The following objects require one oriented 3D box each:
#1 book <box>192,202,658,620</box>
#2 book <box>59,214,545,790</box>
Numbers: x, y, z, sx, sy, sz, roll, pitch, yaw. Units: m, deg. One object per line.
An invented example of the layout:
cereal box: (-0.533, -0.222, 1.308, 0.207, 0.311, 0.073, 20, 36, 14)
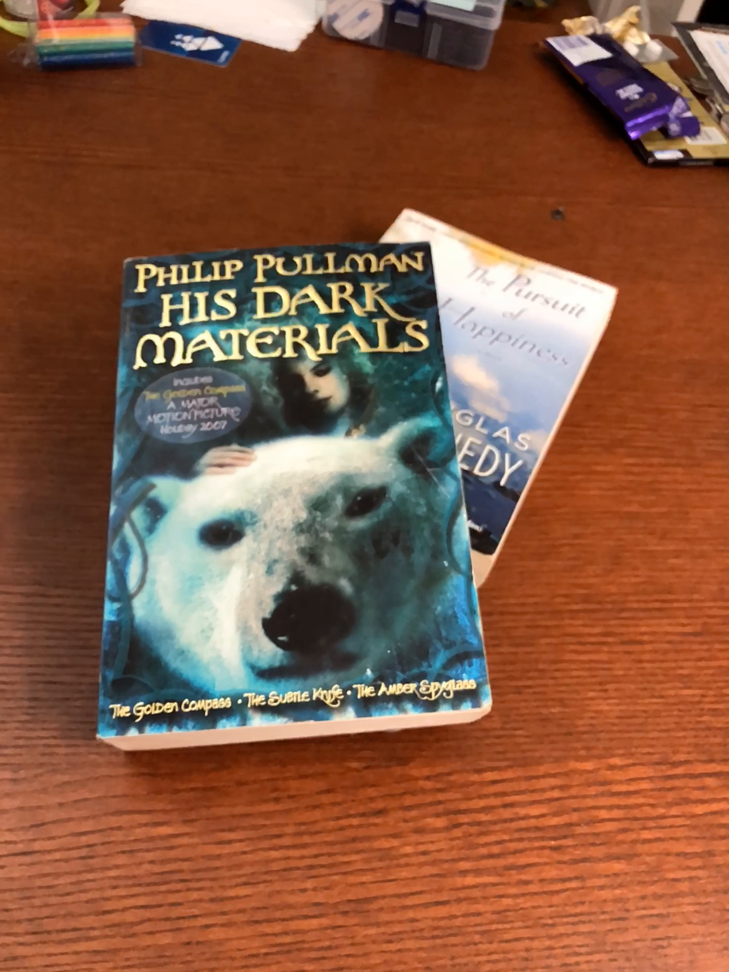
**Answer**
book: (0.045, -0.063, 0.472, 0.170, 0.040, 0.241, 24, 56, 18)
book: (-0.032, -0.003, 0.360, 0.170, 0.060, 0.241, -4, 66, -5)
